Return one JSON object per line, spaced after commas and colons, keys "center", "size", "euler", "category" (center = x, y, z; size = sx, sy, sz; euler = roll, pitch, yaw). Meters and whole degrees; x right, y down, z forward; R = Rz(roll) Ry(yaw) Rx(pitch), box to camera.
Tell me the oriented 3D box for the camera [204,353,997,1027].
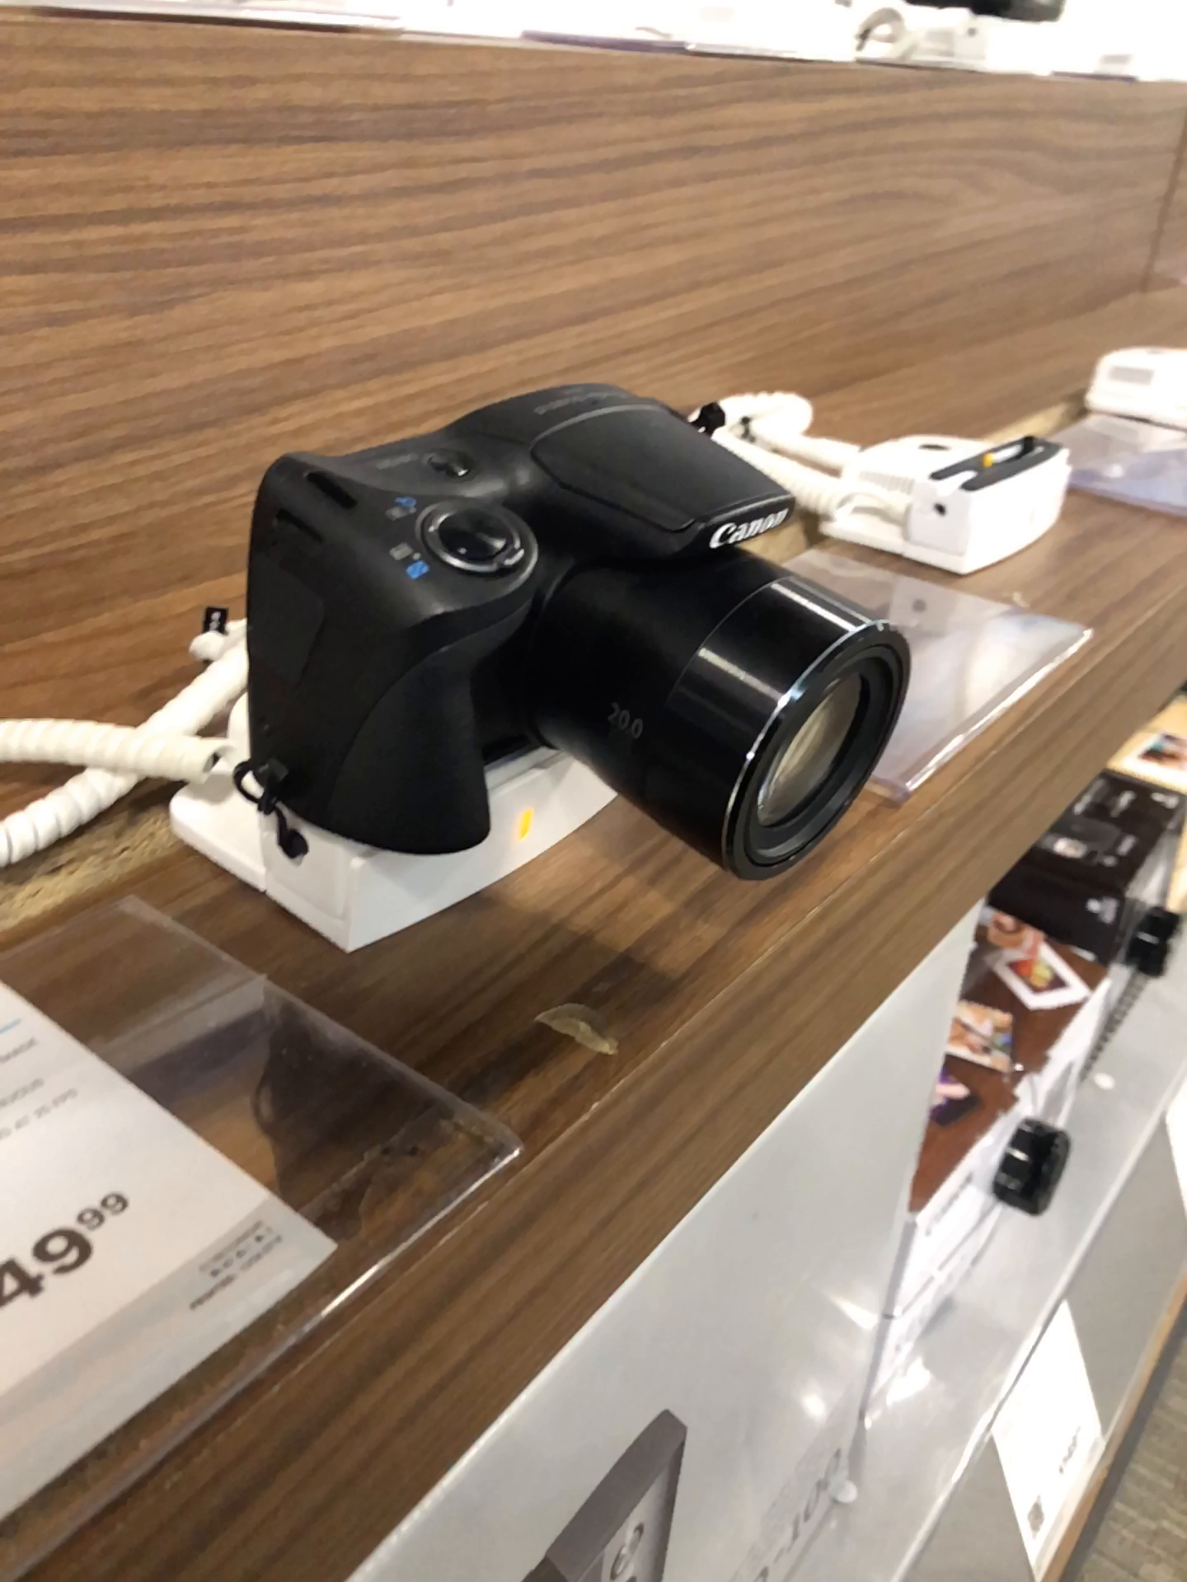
{"center": [0.003, -0.029, 0.236], "size": [0.090, 0.070, 0.100], "euler": [24, 34, 31], "category": "camera"}
